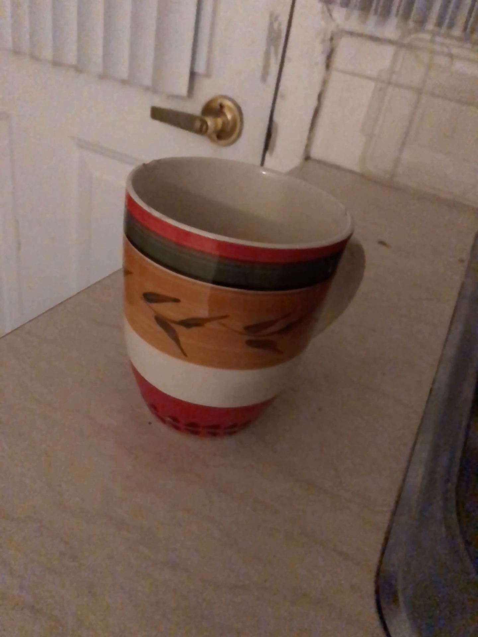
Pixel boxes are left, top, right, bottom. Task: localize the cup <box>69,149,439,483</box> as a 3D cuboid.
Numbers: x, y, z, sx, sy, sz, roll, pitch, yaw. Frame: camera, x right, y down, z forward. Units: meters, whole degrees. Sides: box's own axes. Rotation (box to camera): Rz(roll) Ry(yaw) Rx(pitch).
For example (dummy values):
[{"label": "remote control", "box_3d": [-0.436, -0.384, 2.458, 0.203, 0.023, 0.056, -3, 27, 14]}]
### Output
[{"label": "cup", "box_3d": [0.001, -0.015, 0.276, 0.143, 0.109, 0.100, -15, 40, -36]}]
